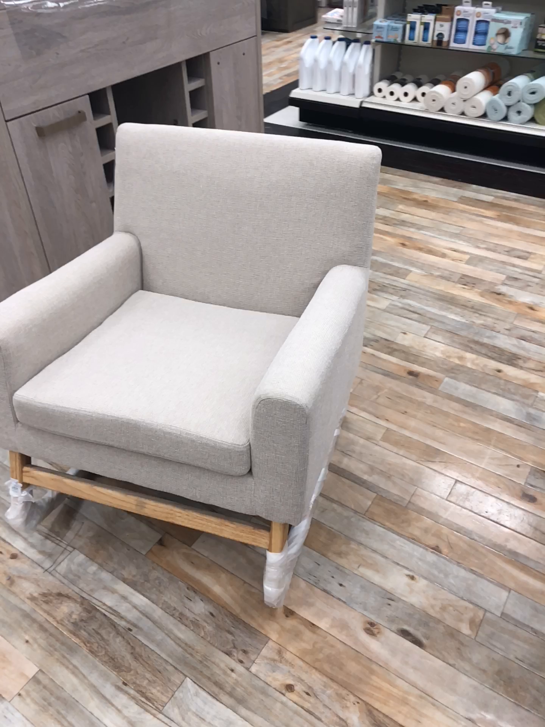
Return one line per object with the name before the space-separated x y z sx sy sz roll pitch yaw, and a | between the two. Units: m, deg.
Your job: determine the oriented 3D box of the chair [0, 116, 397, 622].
chair | -0.177 -0.050 1.344 0.701 0.707 0.742 12 41 16
